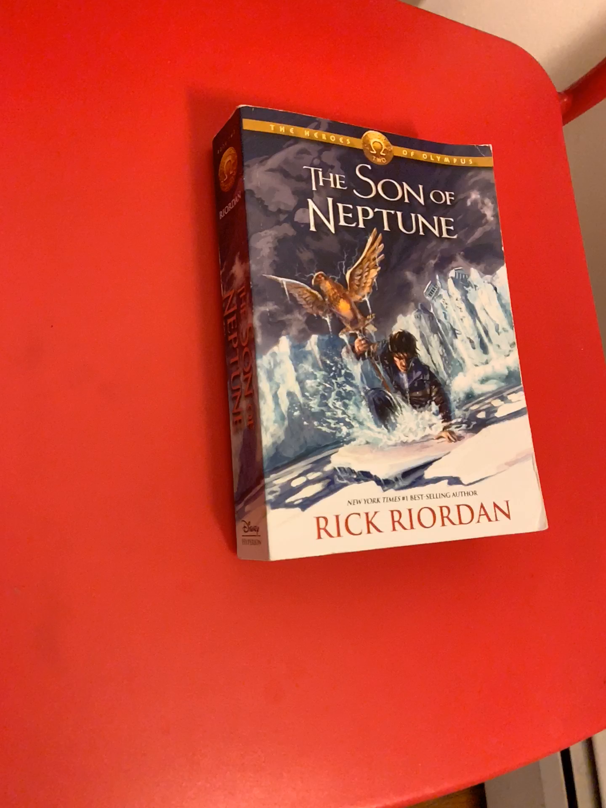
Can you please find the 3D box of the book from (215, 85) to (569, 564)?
[{"bbox_3d":[0.039,-0.032,0.283,0.142,0.040,0.188,1,78,-26],"label":"book"}]
